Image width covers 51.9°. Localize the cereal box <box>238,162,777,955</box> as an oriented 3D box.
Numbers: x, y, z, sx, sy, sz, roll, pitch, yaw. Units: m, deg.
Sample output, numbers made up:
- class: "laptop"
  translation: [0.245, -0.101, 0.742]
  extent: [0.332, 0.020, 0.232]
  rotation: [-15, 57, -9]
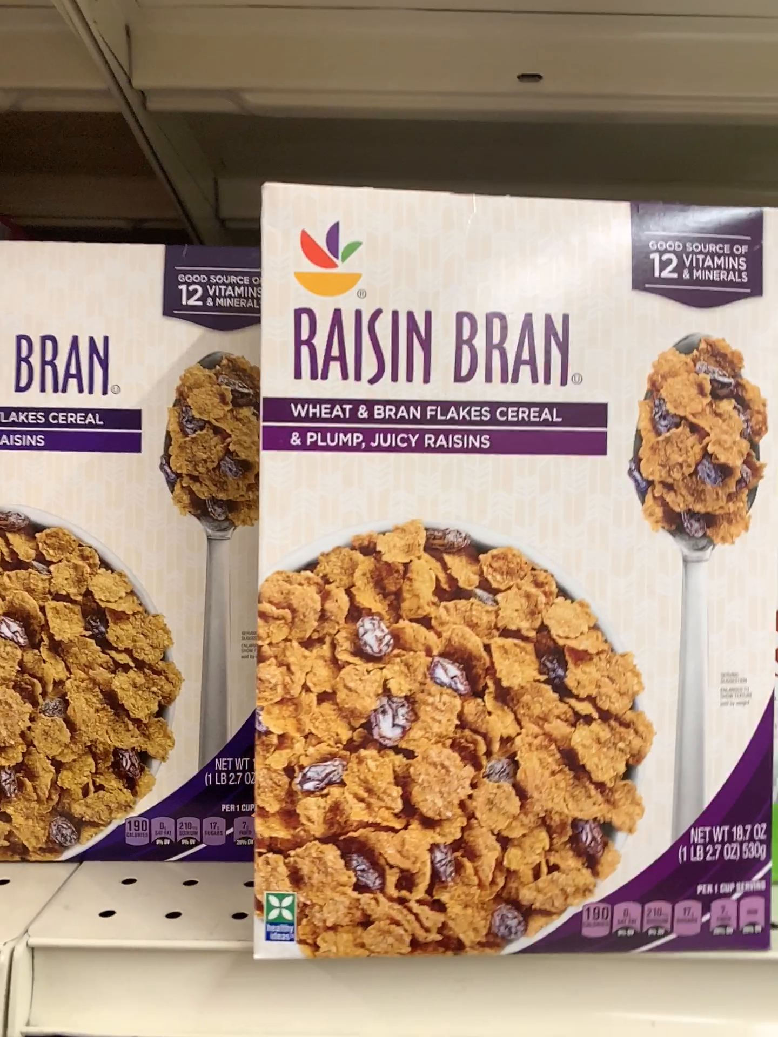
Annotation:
- class: "cereal box"
  translation: [0.043, 0.016, 0.311]
  extent: [0.190, 0.270, 0.070]
  rotation: [1, 2, -3]
